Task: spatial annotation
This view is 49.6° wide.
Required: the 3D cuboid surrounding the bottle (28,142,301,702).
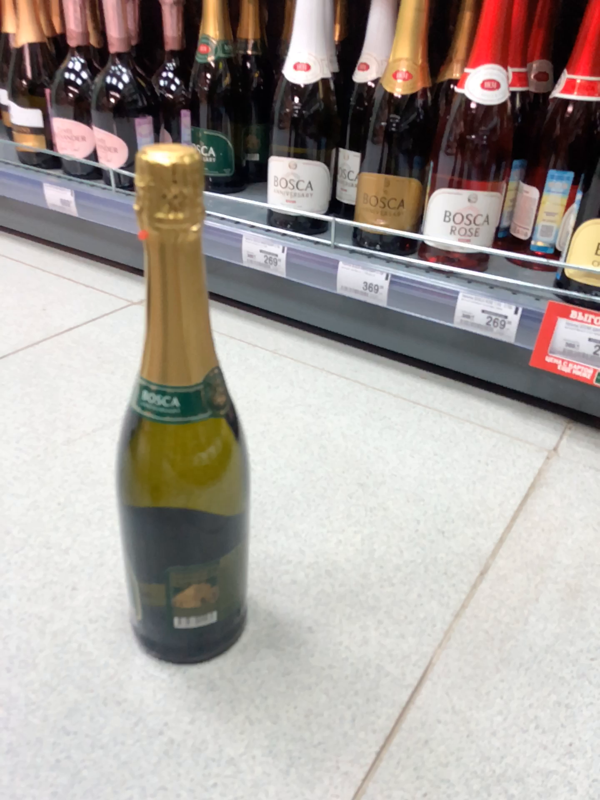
[{"bbox_3d":[-0.069,0.024,0.386,0.090,0.314,0.090,3,30,-2],"label":"bottle"}]
